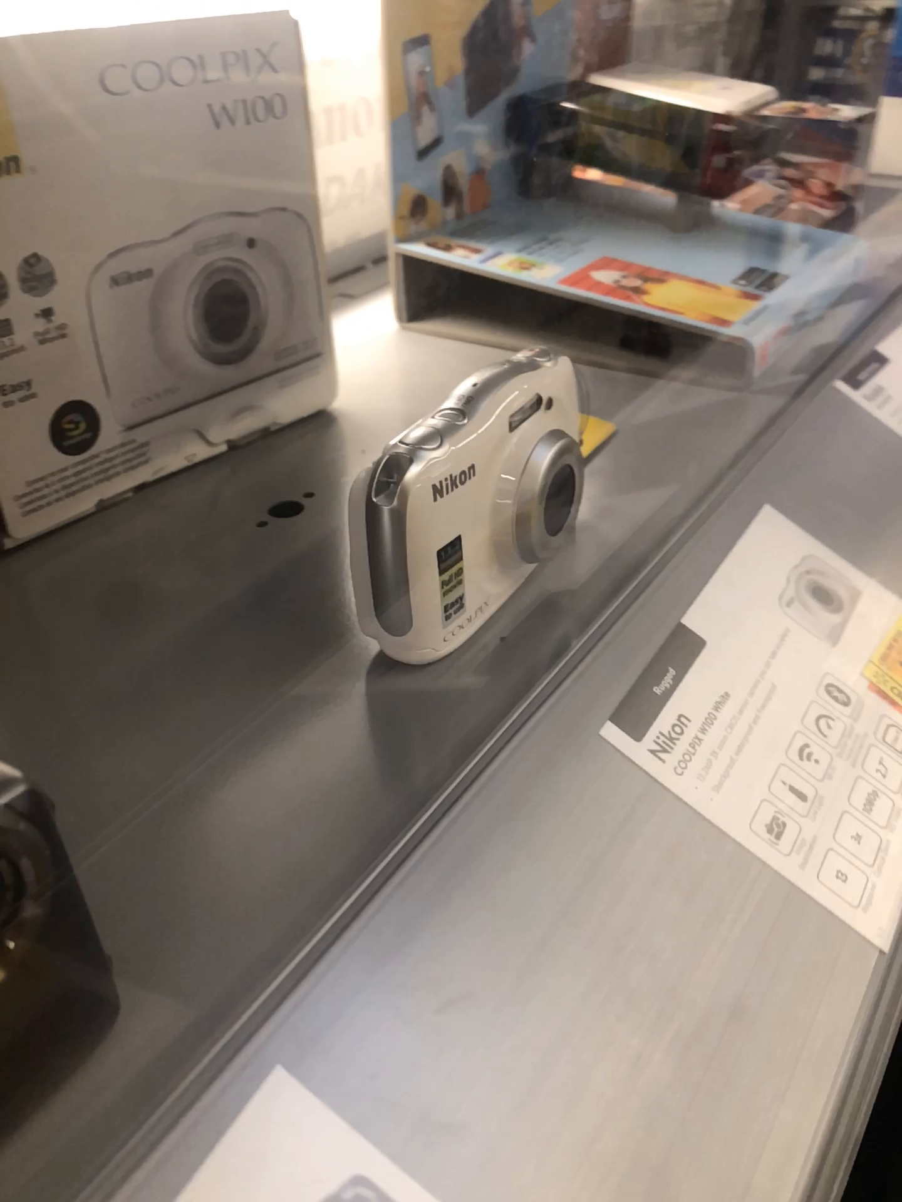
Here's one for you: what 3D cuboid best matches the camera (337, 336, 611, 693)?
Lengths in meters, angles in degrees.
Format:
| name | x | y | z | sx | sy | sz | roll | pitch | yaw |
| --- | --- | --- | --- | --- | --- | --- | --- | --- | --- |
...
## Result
| name | x | y | z | sx | sy | sz | roll | pitch | yaw |
| --- | --- | --- | --- | --- | --- | --- | --- | --- | --- |
| camera | 0.012 | -0.031 | 0.302 | 0.030 | 0.060 | 0.110 | 15 | 37 | 25 |
